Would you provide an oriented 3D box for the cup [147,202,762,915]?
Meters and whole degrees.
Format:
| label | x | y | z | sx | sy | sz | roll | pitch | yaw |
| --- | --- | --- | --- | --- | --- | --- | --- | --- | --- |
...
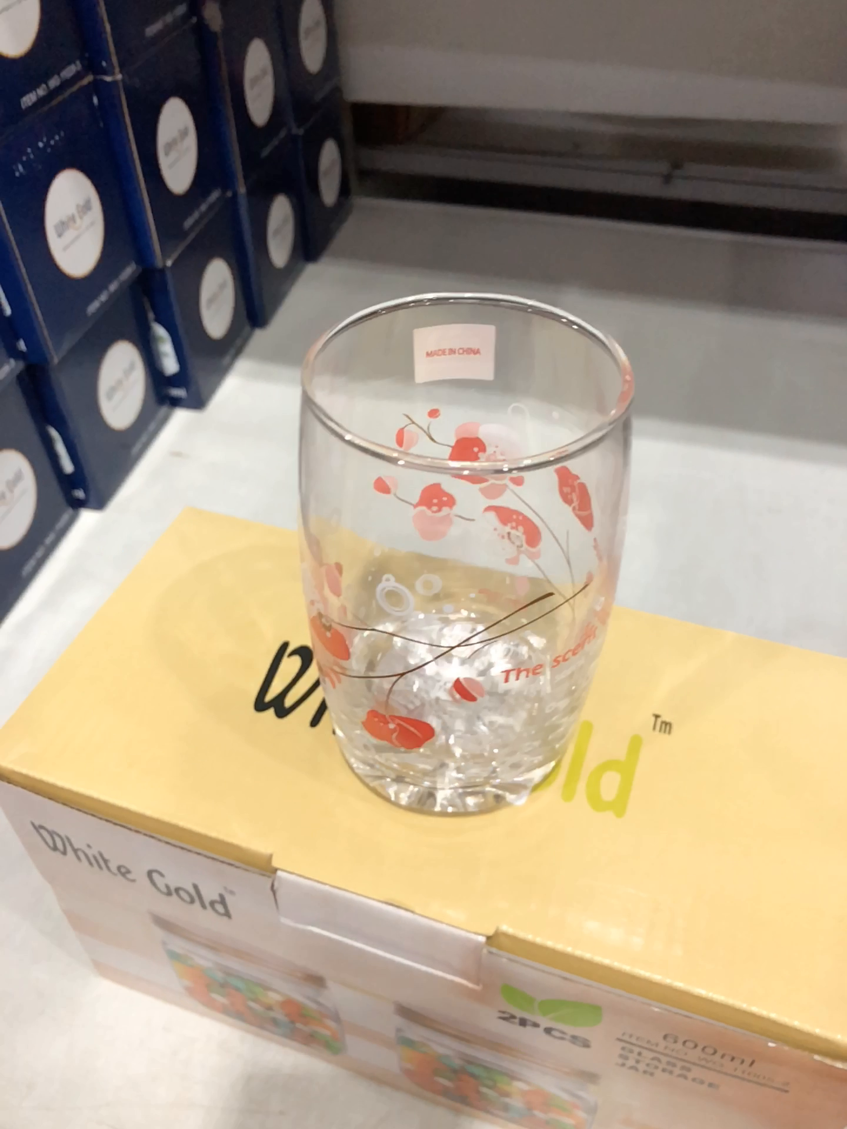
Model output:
| label | x | y | z | sx | sy | sz | roll | pitch | yaw |
| --- | --- | --- | --- | --- | --- | --- | --- | --- | --- |
| cup | 0.010 | -0.002 | 0.207 | 0.080 | 0.110 | 0.080 | -1 | 45 | 1 |
